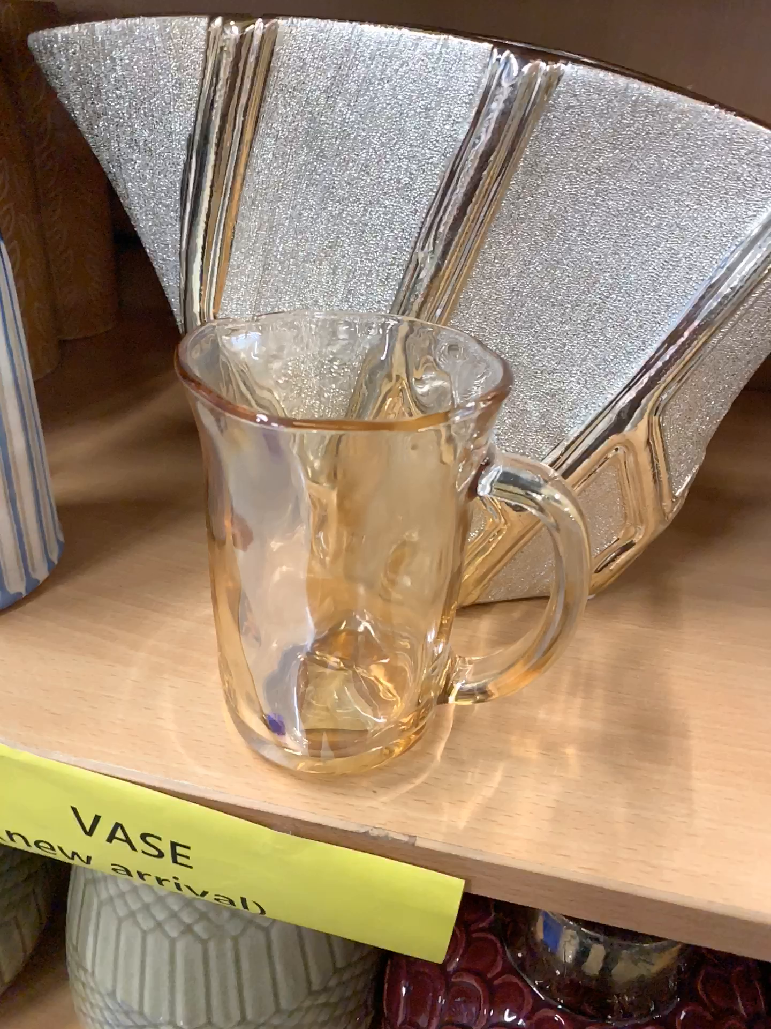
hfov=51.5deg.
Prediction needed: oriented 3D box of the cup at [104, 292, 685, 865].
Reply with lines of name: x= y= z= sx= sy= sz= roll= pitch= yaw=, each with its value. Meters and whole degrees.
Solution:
cup: x=0.005 y=0.009 z=0.205 sx=0.110 sy=0.100 sz=0.080 roll=10 pitch=30 yaw=11
